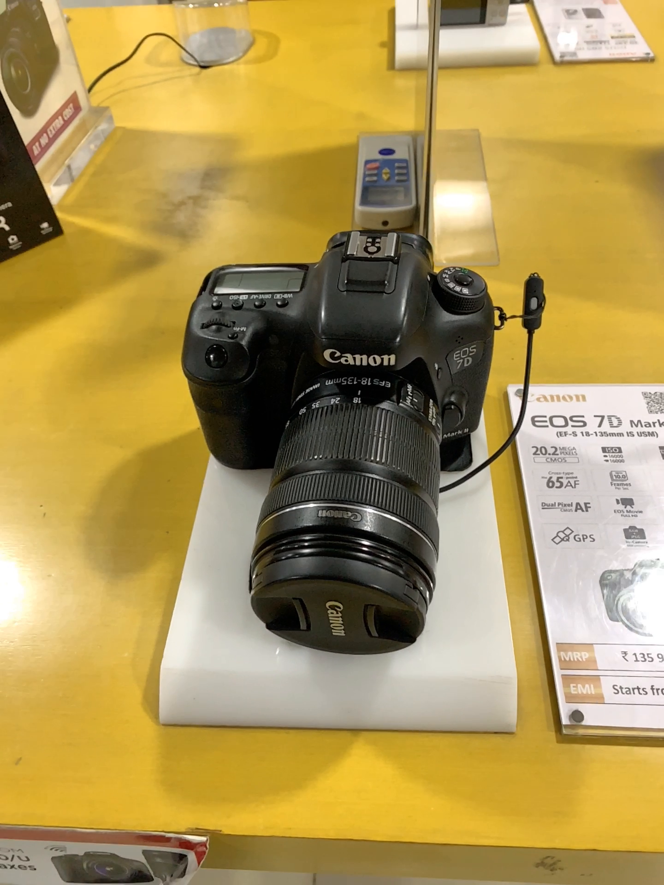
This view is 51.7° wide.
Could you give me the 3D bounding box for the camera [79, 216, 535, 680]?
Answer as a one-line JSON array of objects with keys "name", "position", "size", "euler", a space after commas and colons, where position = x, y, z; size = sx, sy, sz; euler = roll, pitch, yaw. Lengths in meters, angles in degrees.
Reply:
[{"name": "camera", "position": [0.002, -0.002, 0.305], "size": [0.140, 0.120, 0.160], "euler": [3, 49, 6]}]
